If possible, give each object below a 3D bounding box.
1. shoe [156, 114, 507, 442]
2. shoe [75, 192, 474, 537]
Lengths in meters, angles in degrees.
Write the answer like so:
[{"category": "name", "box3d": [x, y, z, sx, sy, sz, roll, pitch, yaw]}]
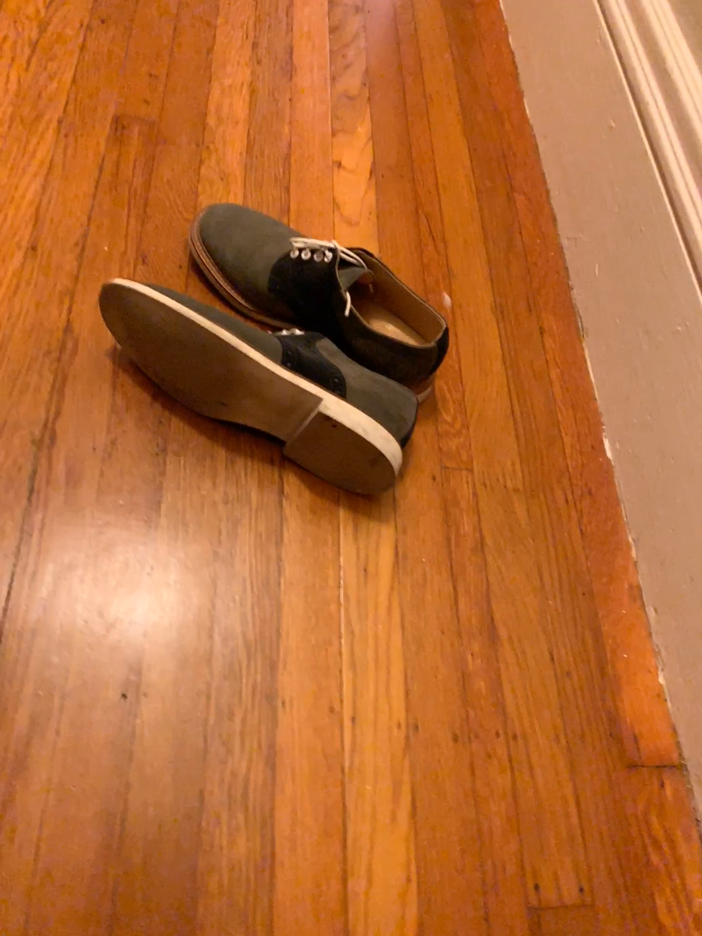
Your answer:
[{"category": "shoe", "box3d": [-0.027, -0.185, 0.688, 0.310, 0.100, 0.130, 40, 58, 10]}, {"category": "shoe", "box3d": [-0.072, -0.090, 0.642, 0.310, 0.130, 0.120, 30, 55, 4]}]
